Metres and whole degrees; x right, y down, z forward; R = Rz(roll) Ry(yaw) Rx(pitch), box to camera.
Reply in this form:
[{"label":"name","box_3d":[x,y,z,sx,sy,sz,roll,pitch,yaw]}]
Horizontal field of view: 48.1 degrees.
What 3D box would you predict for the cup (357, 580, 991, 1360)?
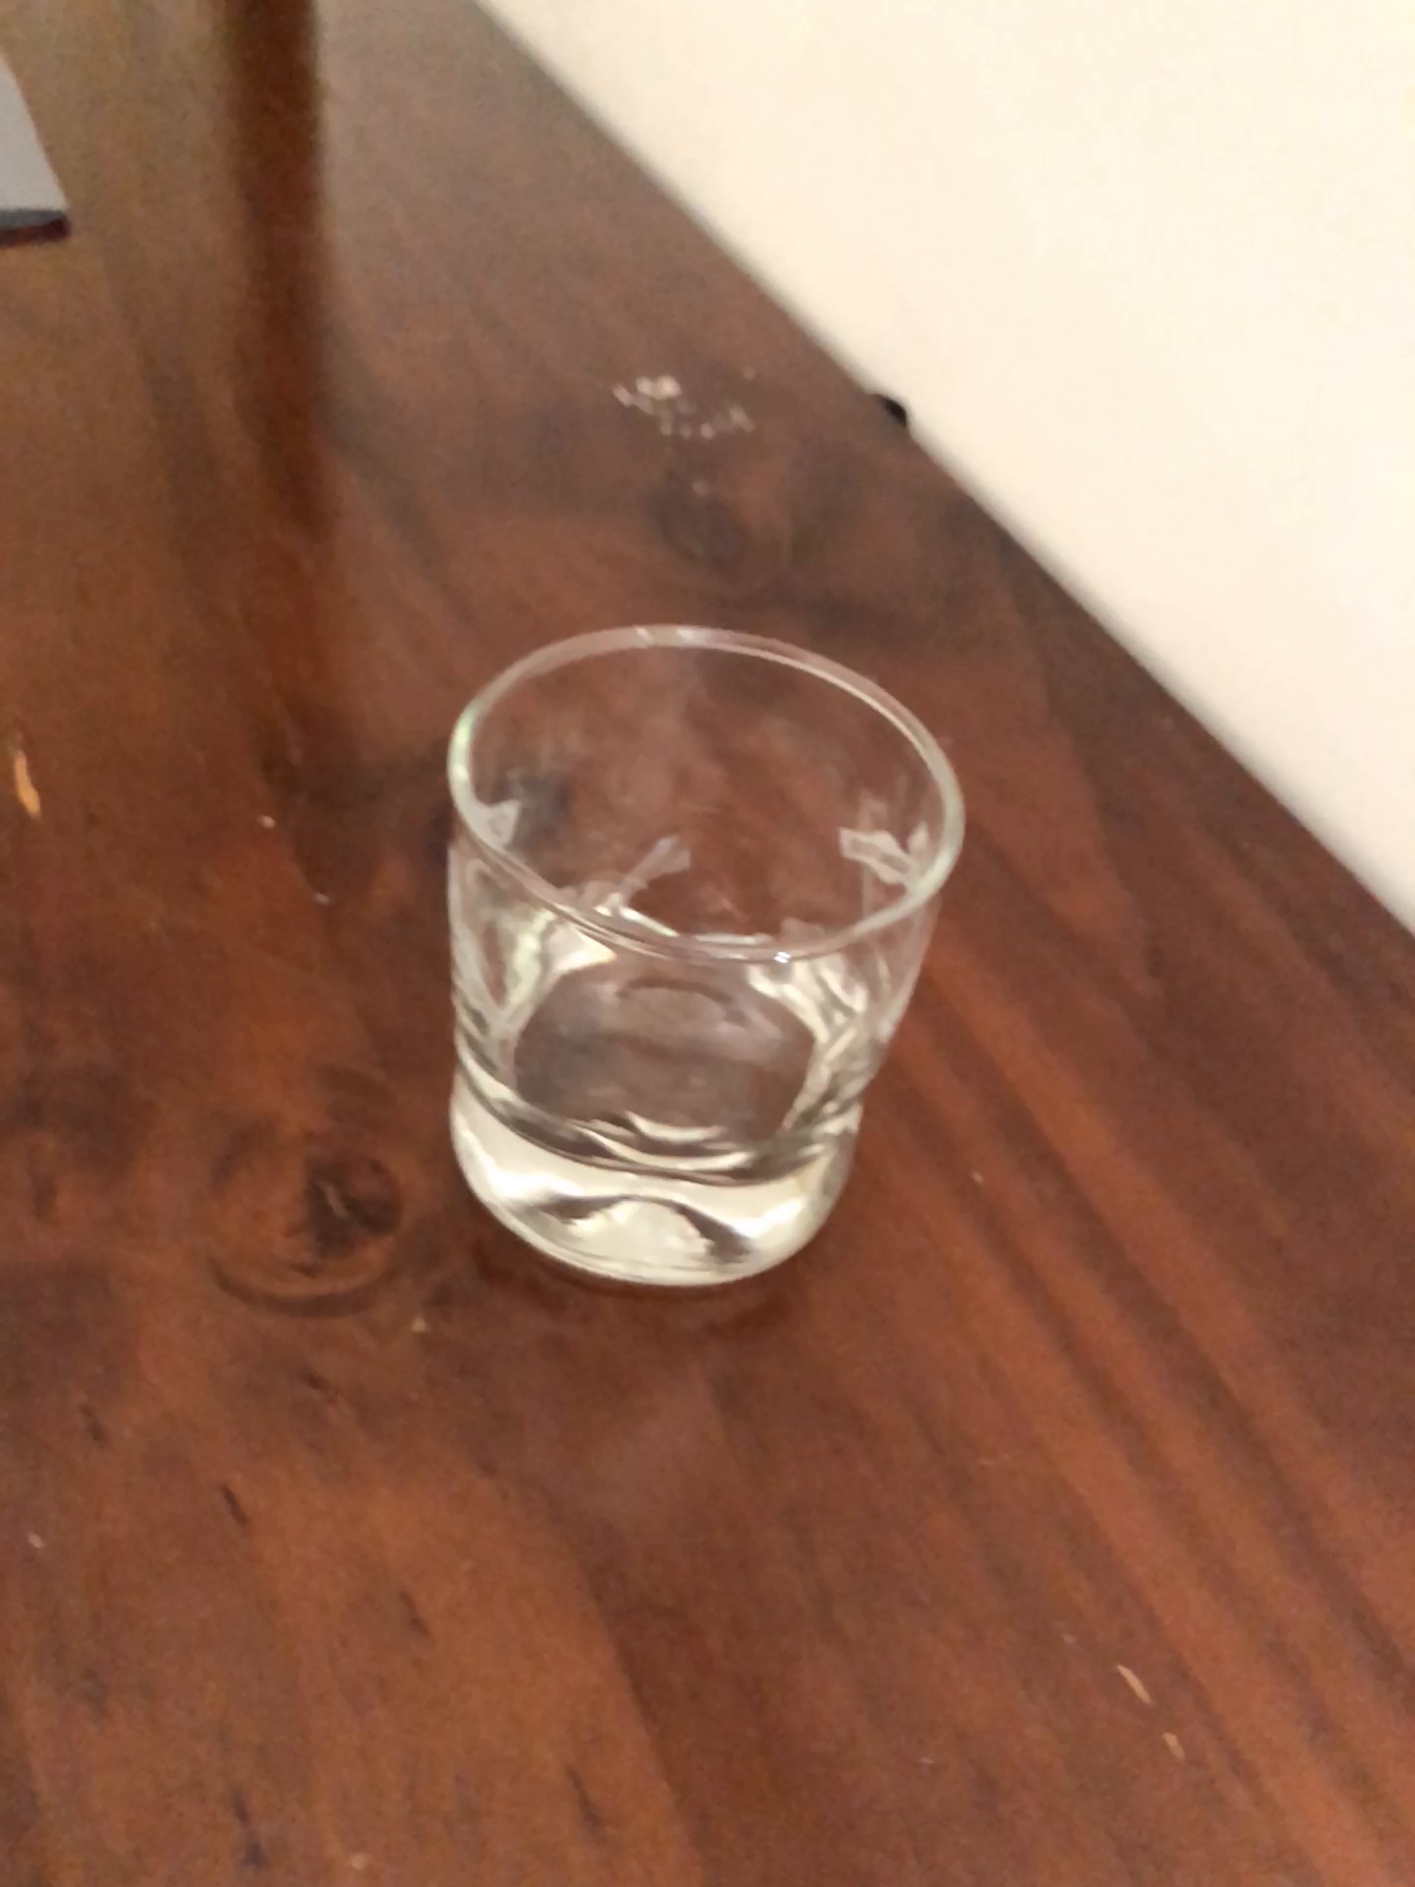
[{"label":"cup","box_3d":[-0.004,0.004,0.263,0.081,0.080,0.082,5,45,-5]}]
